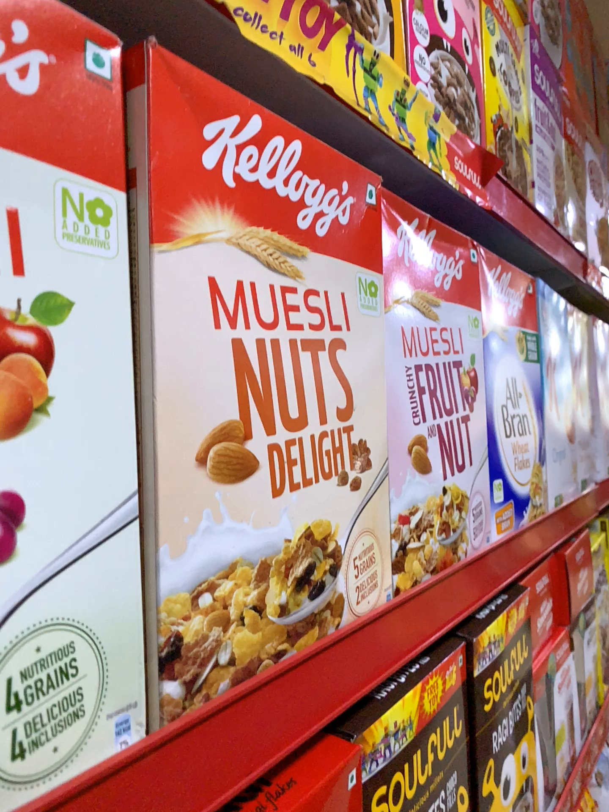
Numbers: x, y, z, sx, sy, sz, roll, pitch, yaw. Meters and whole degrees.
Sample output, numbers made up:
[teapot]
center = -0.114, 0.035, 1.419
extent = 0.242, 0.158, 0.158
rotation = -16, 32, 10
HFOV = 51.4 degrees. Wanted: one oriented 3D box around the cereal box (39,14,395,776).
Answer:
[cereal box]
center = -0.027, -0.006, 0.295
extent = 0.060, 0.250, 0.170
rotation = -4, -3, 33
